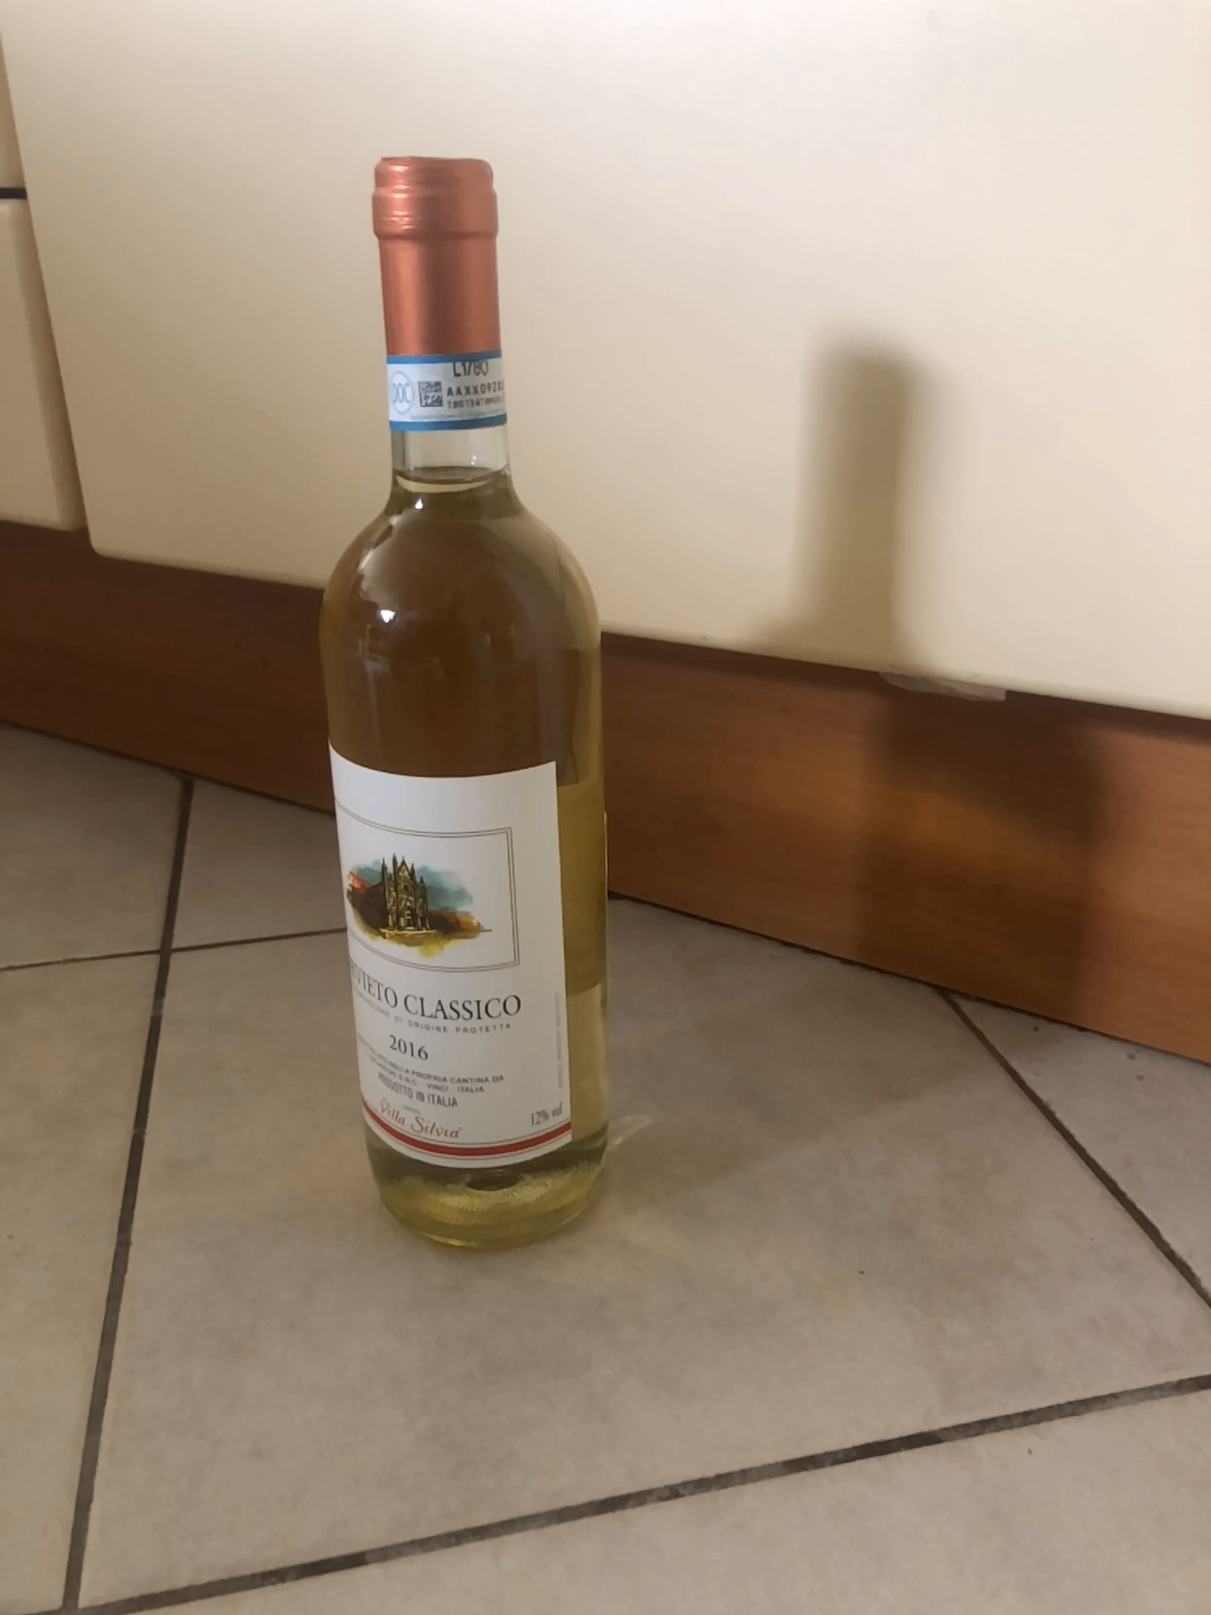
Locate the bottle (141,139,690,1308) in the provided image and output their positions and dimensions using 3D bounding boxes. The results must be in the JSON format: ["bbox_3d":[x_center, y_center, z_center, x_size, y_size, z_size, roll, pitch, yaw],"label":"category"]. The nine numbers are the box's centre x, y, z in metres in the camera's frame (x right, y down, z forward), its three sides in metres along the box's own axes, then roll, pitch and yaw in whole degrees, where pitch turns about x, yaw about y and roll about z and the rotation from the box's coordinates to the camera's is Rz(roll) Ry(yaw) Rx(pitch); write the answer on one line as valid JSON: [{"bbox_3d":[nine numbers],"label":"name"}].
[{"bbox_3d":[-0.040,-0.019,0.367,0.090,0.288,0.091,0,23,0],"label":"bottle"}]
